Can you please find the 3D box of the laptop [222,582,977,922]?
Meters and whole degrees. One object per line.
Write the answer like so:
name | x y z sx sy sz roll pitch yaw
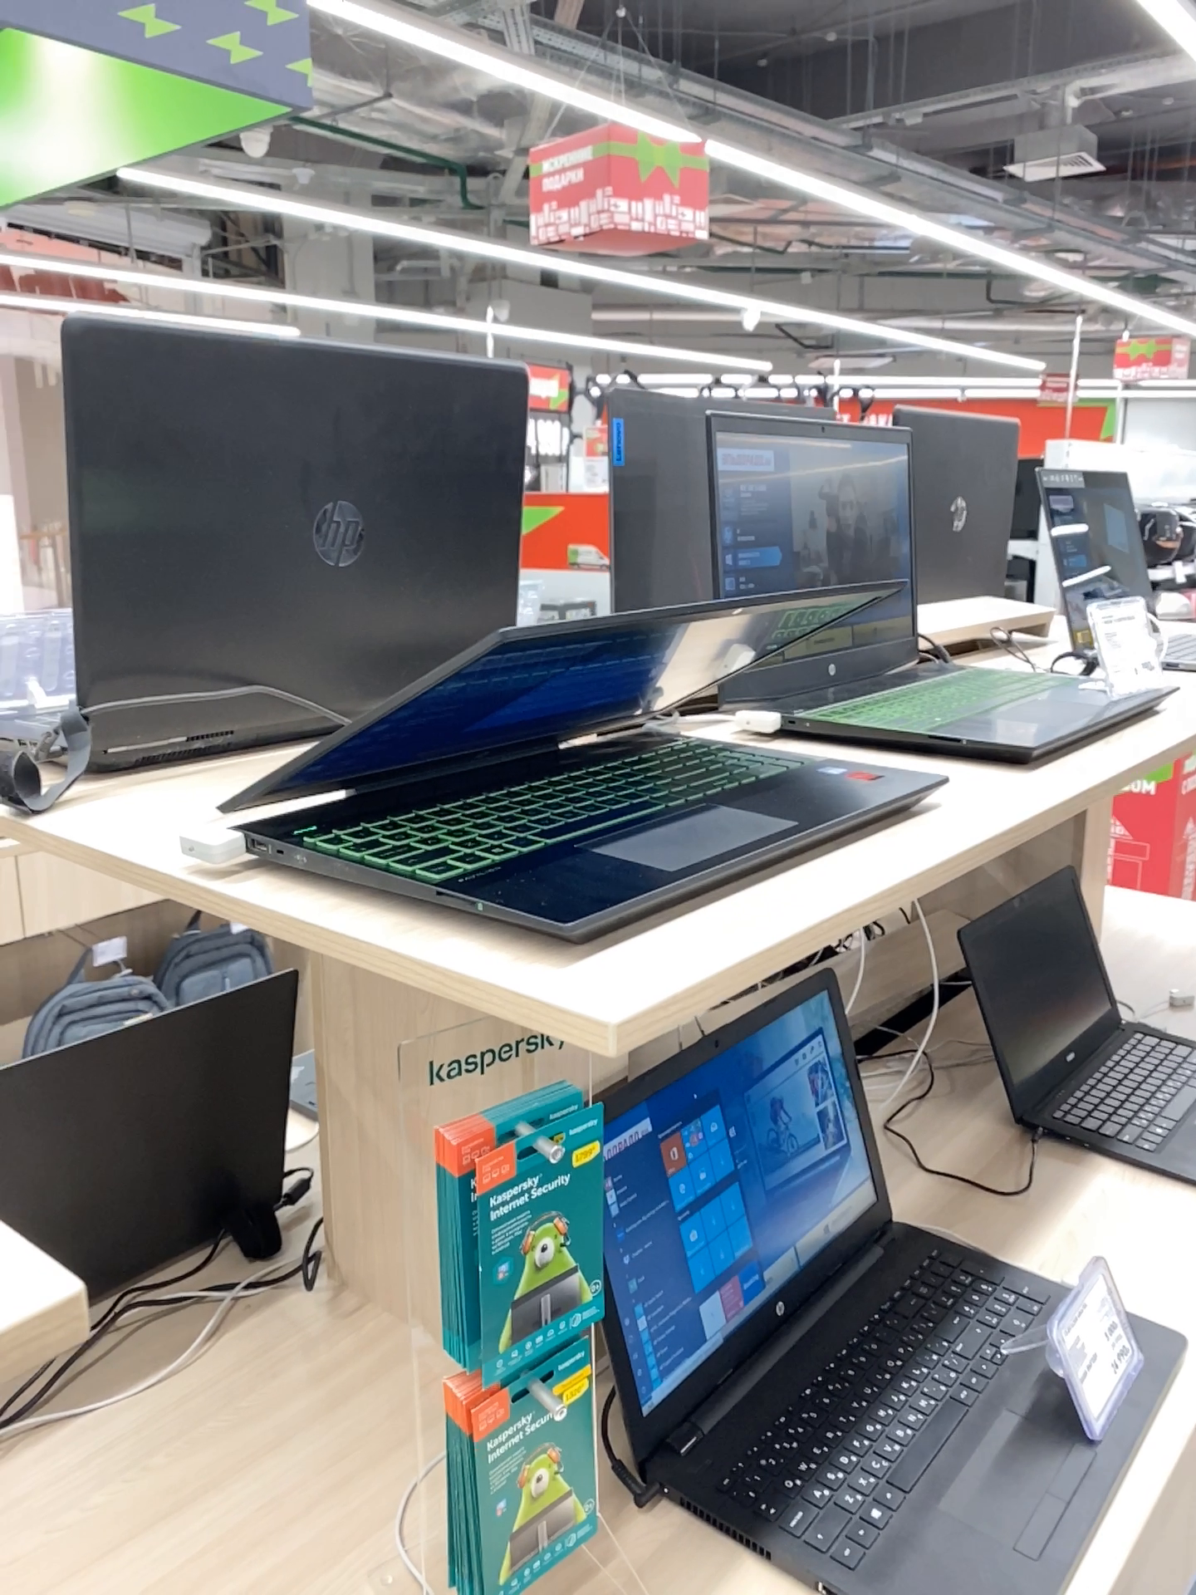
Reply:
laptop | 0.019 -0.054 0.696 0.244 0.115 0.365 12 16 39
